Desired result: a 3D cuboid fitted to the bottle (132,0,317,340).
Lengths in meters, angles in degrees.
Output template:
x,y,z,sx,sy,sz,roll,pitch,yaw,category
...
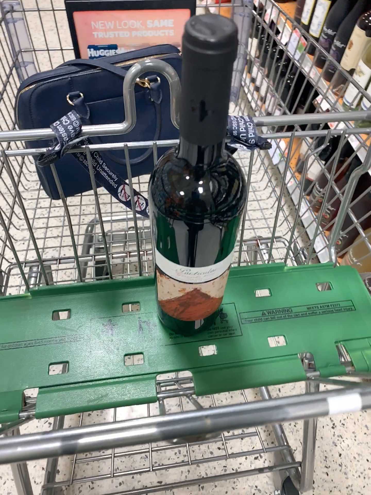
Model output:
x,y,z,sx,sy,sz,roll,pitch,yaw,category
0.010,-0.025,0.307,0.080,0.297,0.081,1,54,-1,bottle
